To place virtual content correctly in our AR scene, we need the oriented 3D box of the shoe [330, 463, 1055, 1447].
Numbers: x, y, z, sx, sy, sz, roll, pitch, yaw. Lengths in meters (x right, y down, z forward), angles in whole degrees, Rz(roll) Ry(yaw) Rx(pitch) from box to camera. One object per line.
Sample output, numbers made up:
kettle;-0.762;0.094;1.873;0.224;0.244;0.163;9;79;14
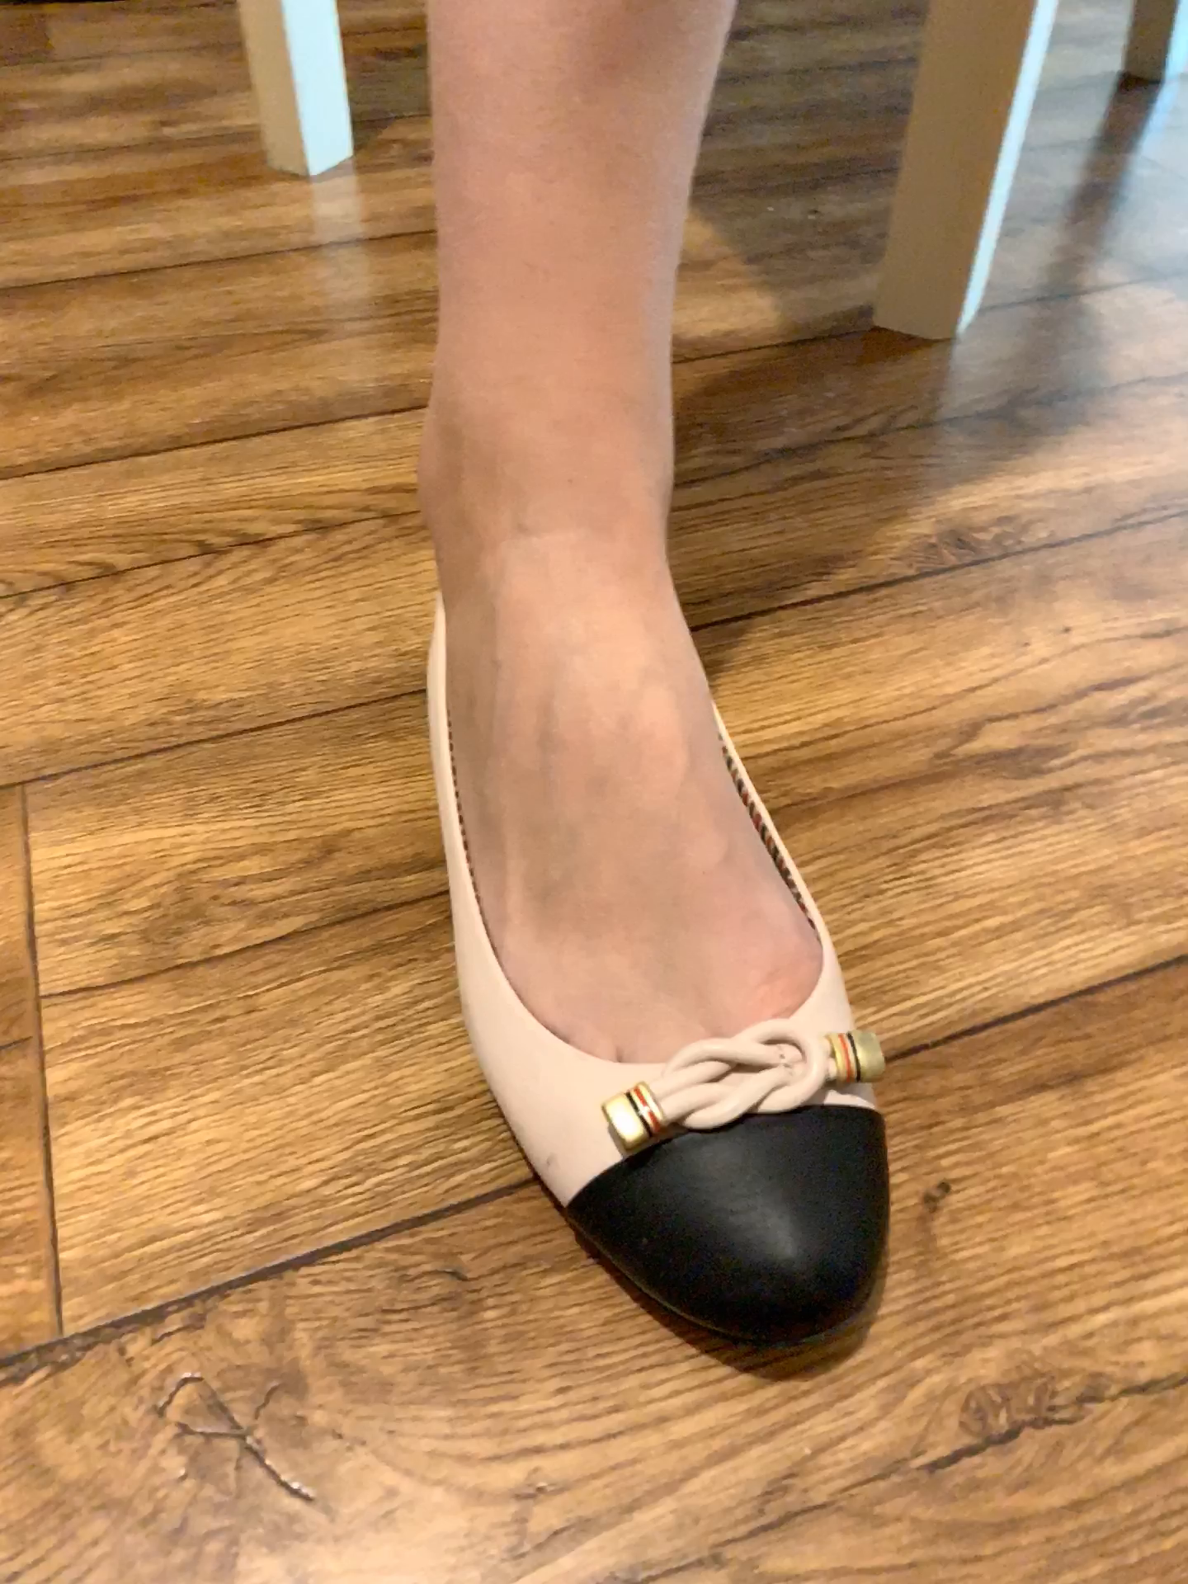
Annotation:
shoe;0.002;0.014;0.283;0.083;0.059;0.221;-12;48;-12
